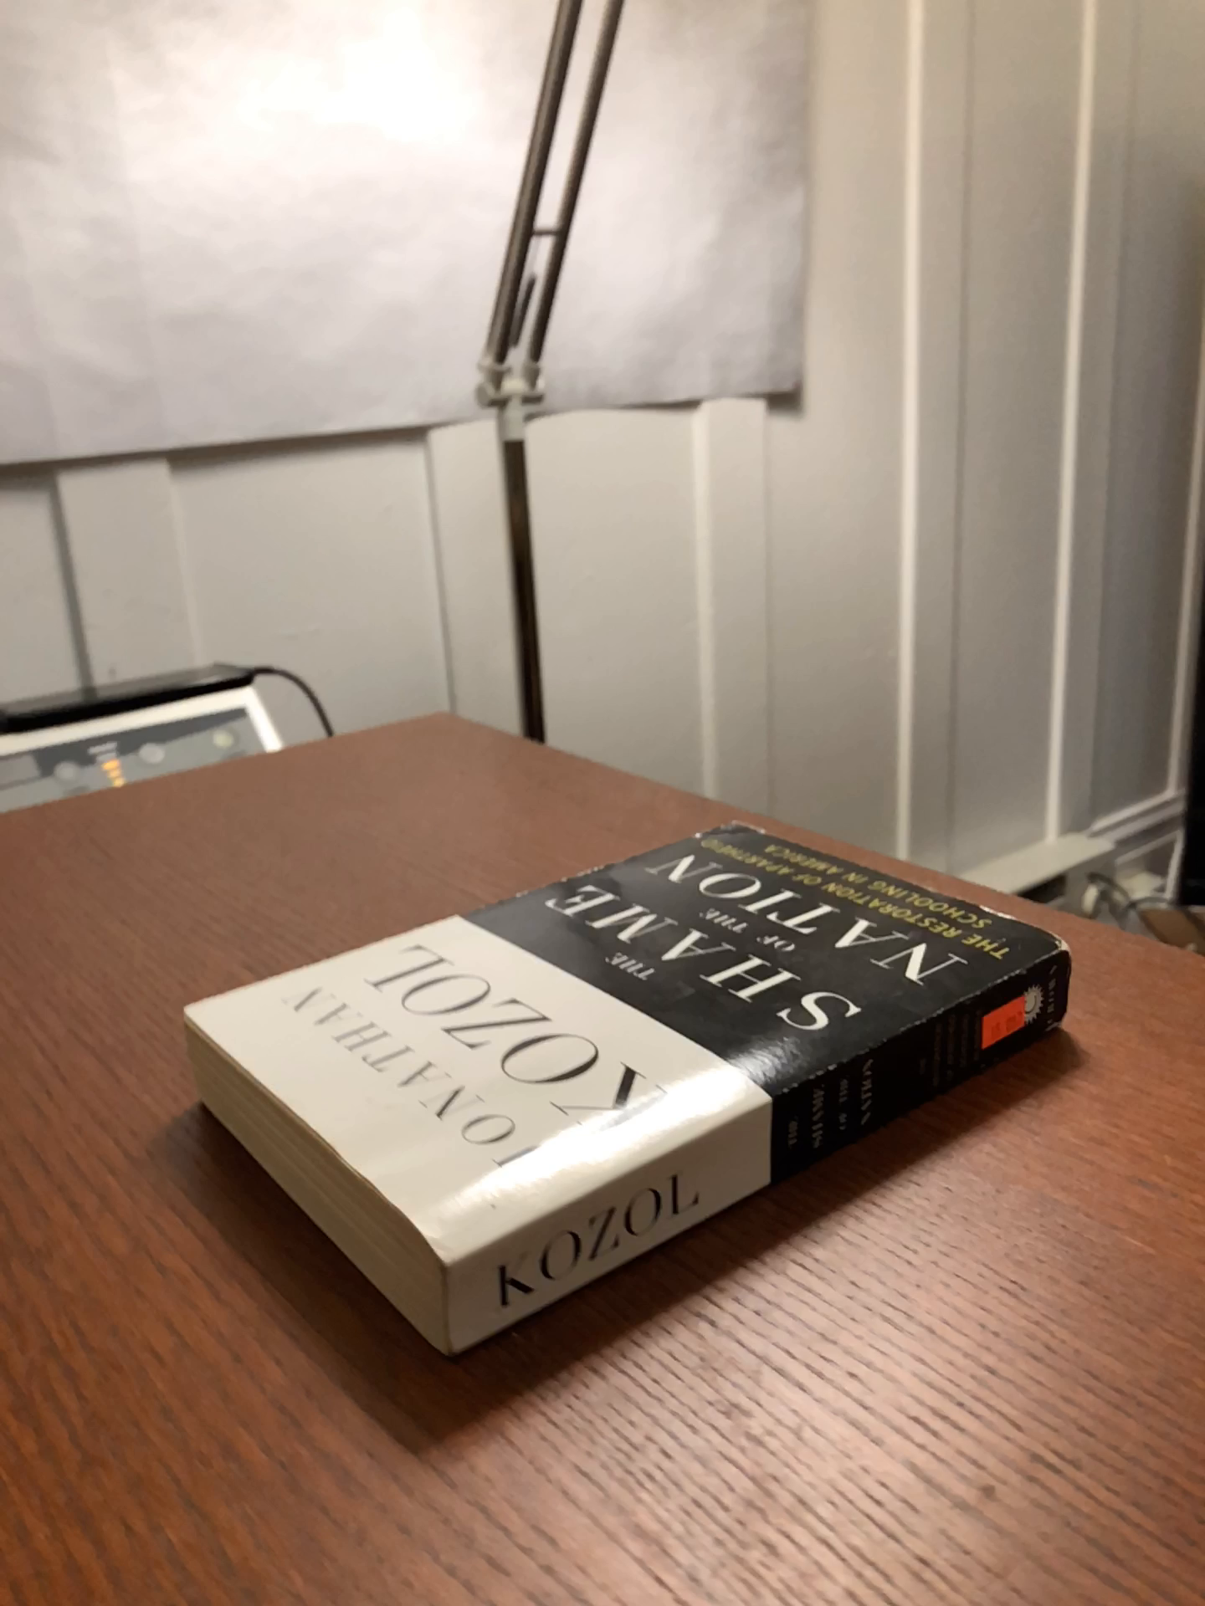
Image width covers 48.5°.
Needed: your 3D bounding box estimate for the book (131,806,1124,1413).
[{"bbox_3d":[0.009,0.059,0.381,0.230,0.030,0.160,-16,22,-34],"label":"book"}]
